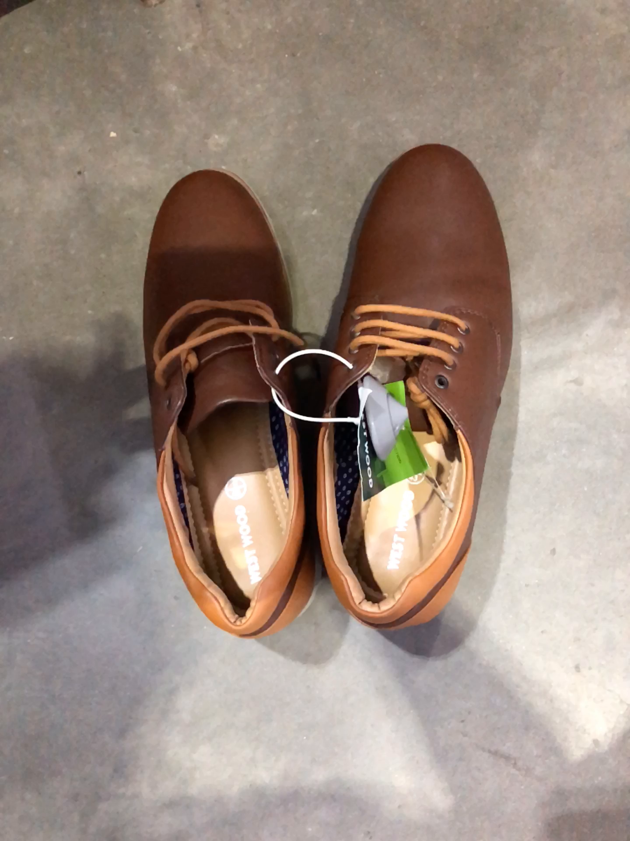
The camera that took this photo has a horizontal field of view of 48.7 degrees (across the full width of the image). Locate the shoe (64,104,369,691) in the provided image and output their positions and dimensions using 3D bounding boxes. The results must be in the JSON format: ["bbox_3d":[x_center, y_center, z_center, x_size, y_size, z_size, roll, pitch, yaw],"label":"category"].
[{"bbox_3d":[-0.051,-0.010,0.404,0.110,0.120,0.280,-10,80,7],"label":"shoe"}]

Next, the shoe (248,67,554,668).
[{"bbox_3d":[0.057,-0.031,0.429,0.120,0.130,0.310,7,83,9],"label":"shoe"}]
